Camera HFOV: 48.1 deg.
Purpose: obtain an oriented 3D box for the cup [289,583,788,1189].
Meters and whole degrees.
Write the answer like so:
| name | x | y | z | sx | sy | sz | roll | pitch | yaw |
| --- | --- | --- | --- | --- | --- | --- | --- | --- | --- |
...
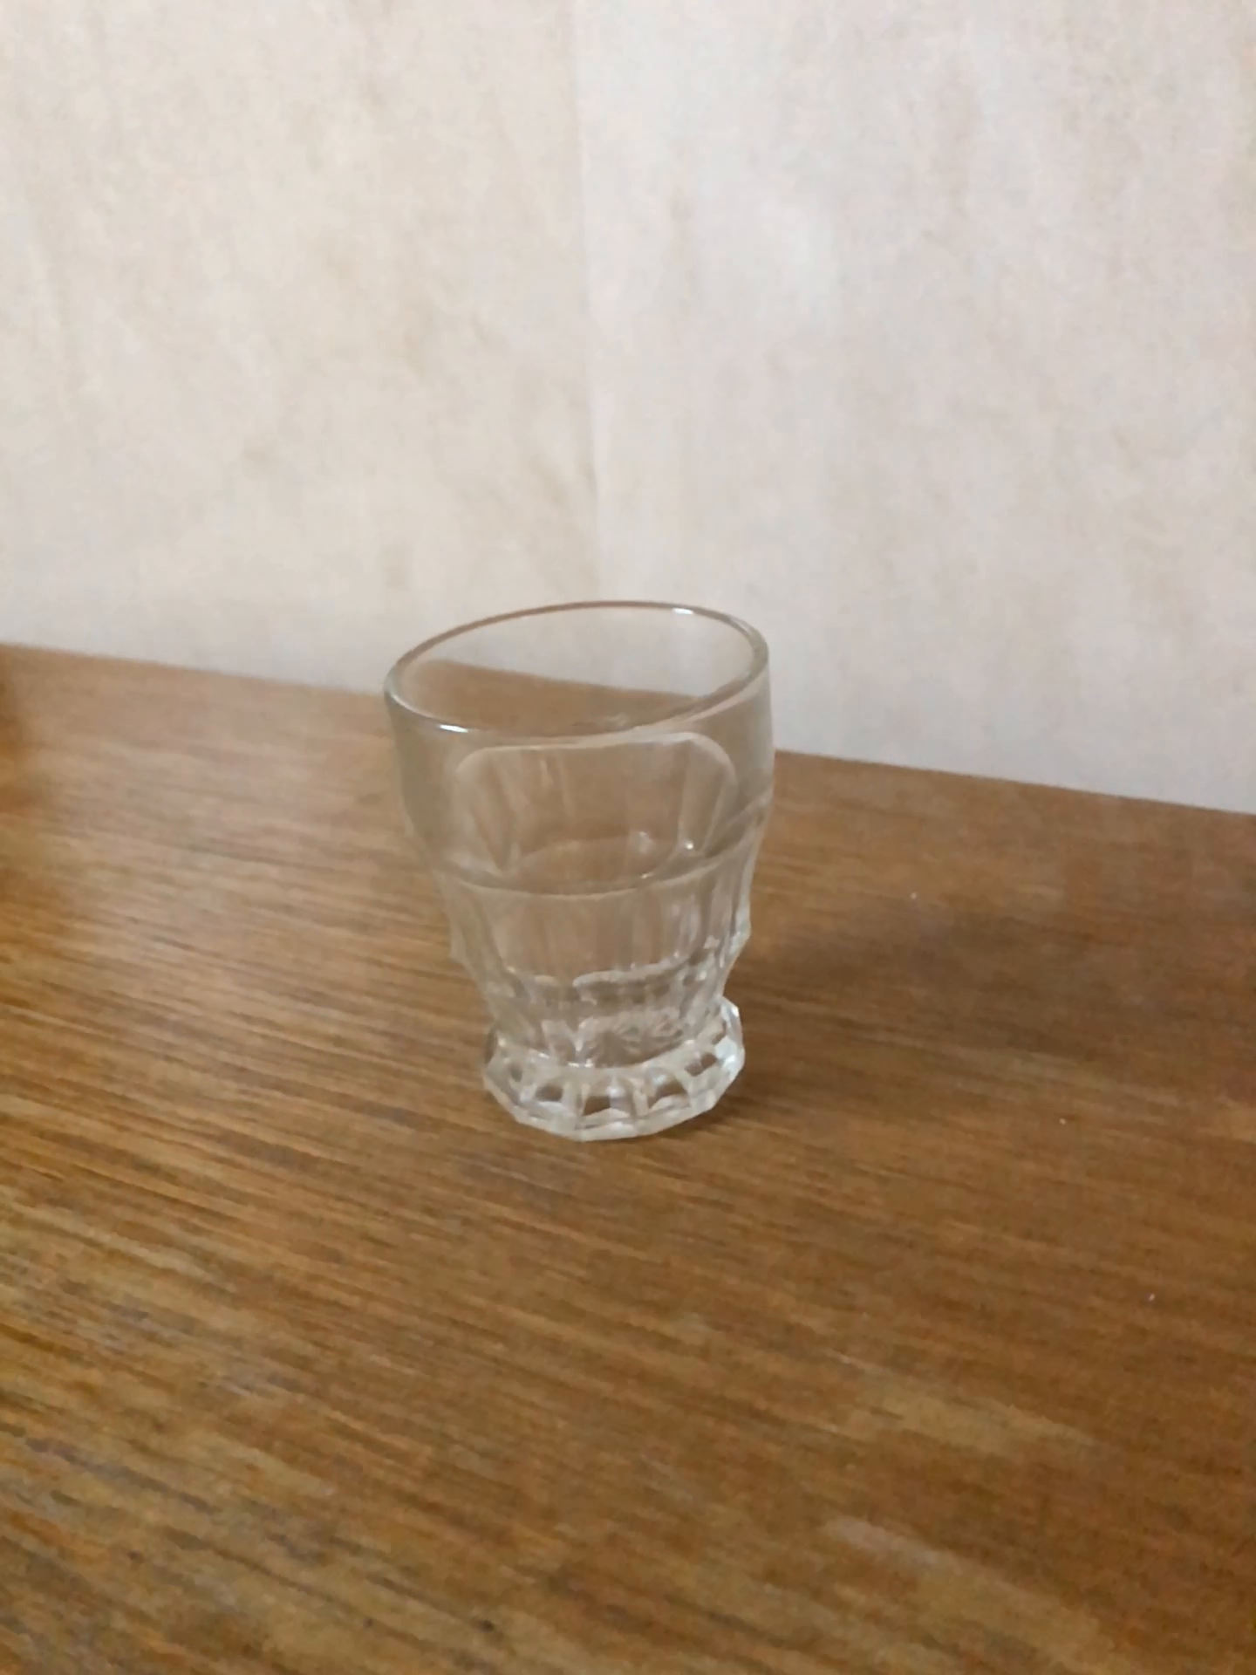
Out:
| name | x | y | z | sx | sy | sz | roll | pitch | yaw |
| --- | --- | --- | --- | --- | --- | --- | --- | --- | --- |
| cup | -0.007 | 0.004 | 0.214 | 0.060 | 0.070 | 0.060 | -2 | 26 | 1 |
